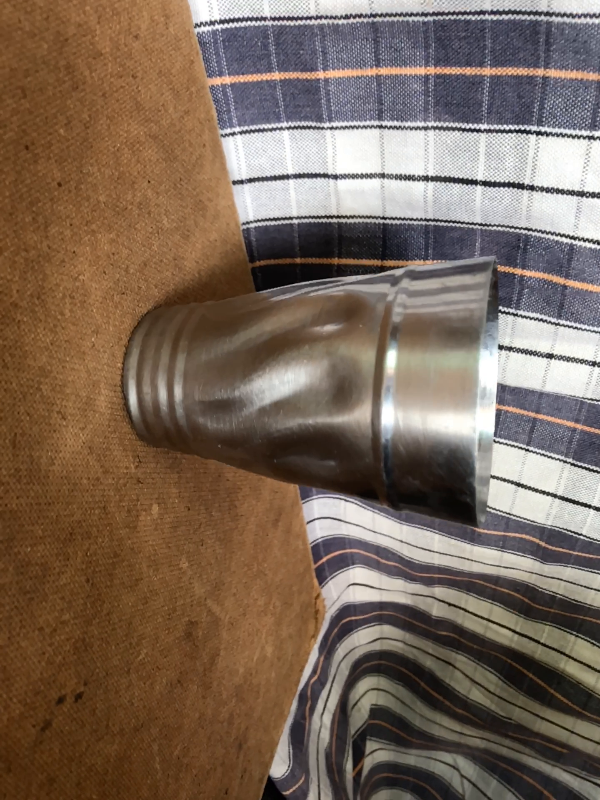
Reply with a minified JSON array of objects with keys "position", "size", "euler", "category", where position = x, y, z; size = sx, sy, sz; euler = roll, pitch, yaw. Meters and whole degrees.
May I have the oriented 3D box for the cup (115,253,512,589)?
[{"position":[0.011,-0.002,0.209],"size":[0.080,0.099,0.080],"euler":[3,90,-72],"category":"cup"}]
